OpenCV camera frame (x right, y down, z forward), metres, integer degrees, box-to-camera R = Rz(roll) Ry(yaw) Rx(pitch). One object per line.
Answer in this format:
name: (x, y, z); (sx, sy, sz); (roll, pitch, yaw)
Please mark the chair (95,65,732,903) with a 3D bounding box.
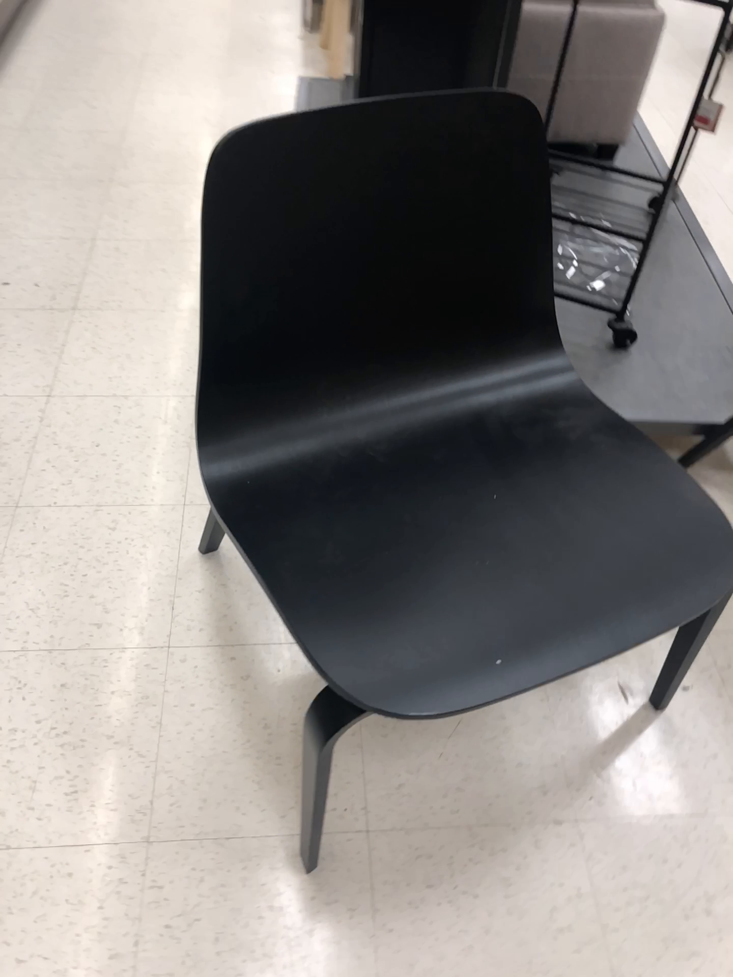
chair: (0.104, -0.018, 1.046); (0.640, 0.718, 0.632); (-16, 51, -19)
